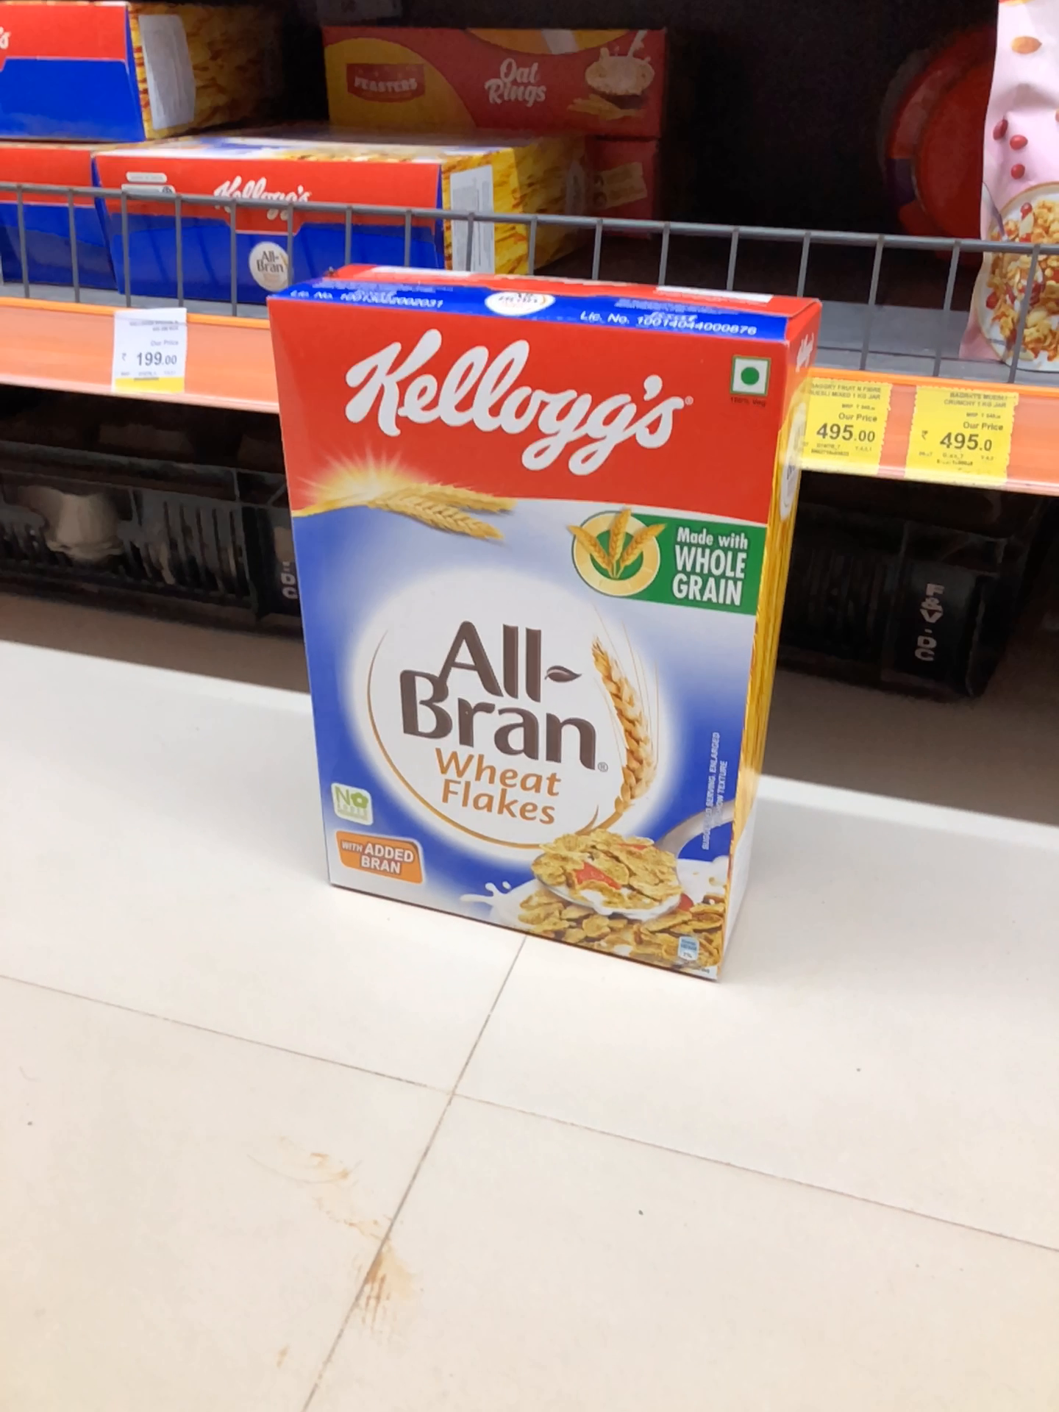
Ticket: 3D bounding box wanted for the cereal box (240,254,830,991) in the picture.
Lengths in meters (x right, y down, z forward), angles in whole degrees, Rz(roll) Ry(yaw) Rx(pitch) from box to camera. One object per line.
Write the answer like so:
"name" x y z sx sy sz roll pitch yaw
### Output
"cereal box" 0.002 -0.033 0.470 0.190 0.258 0.081 11 31 17
